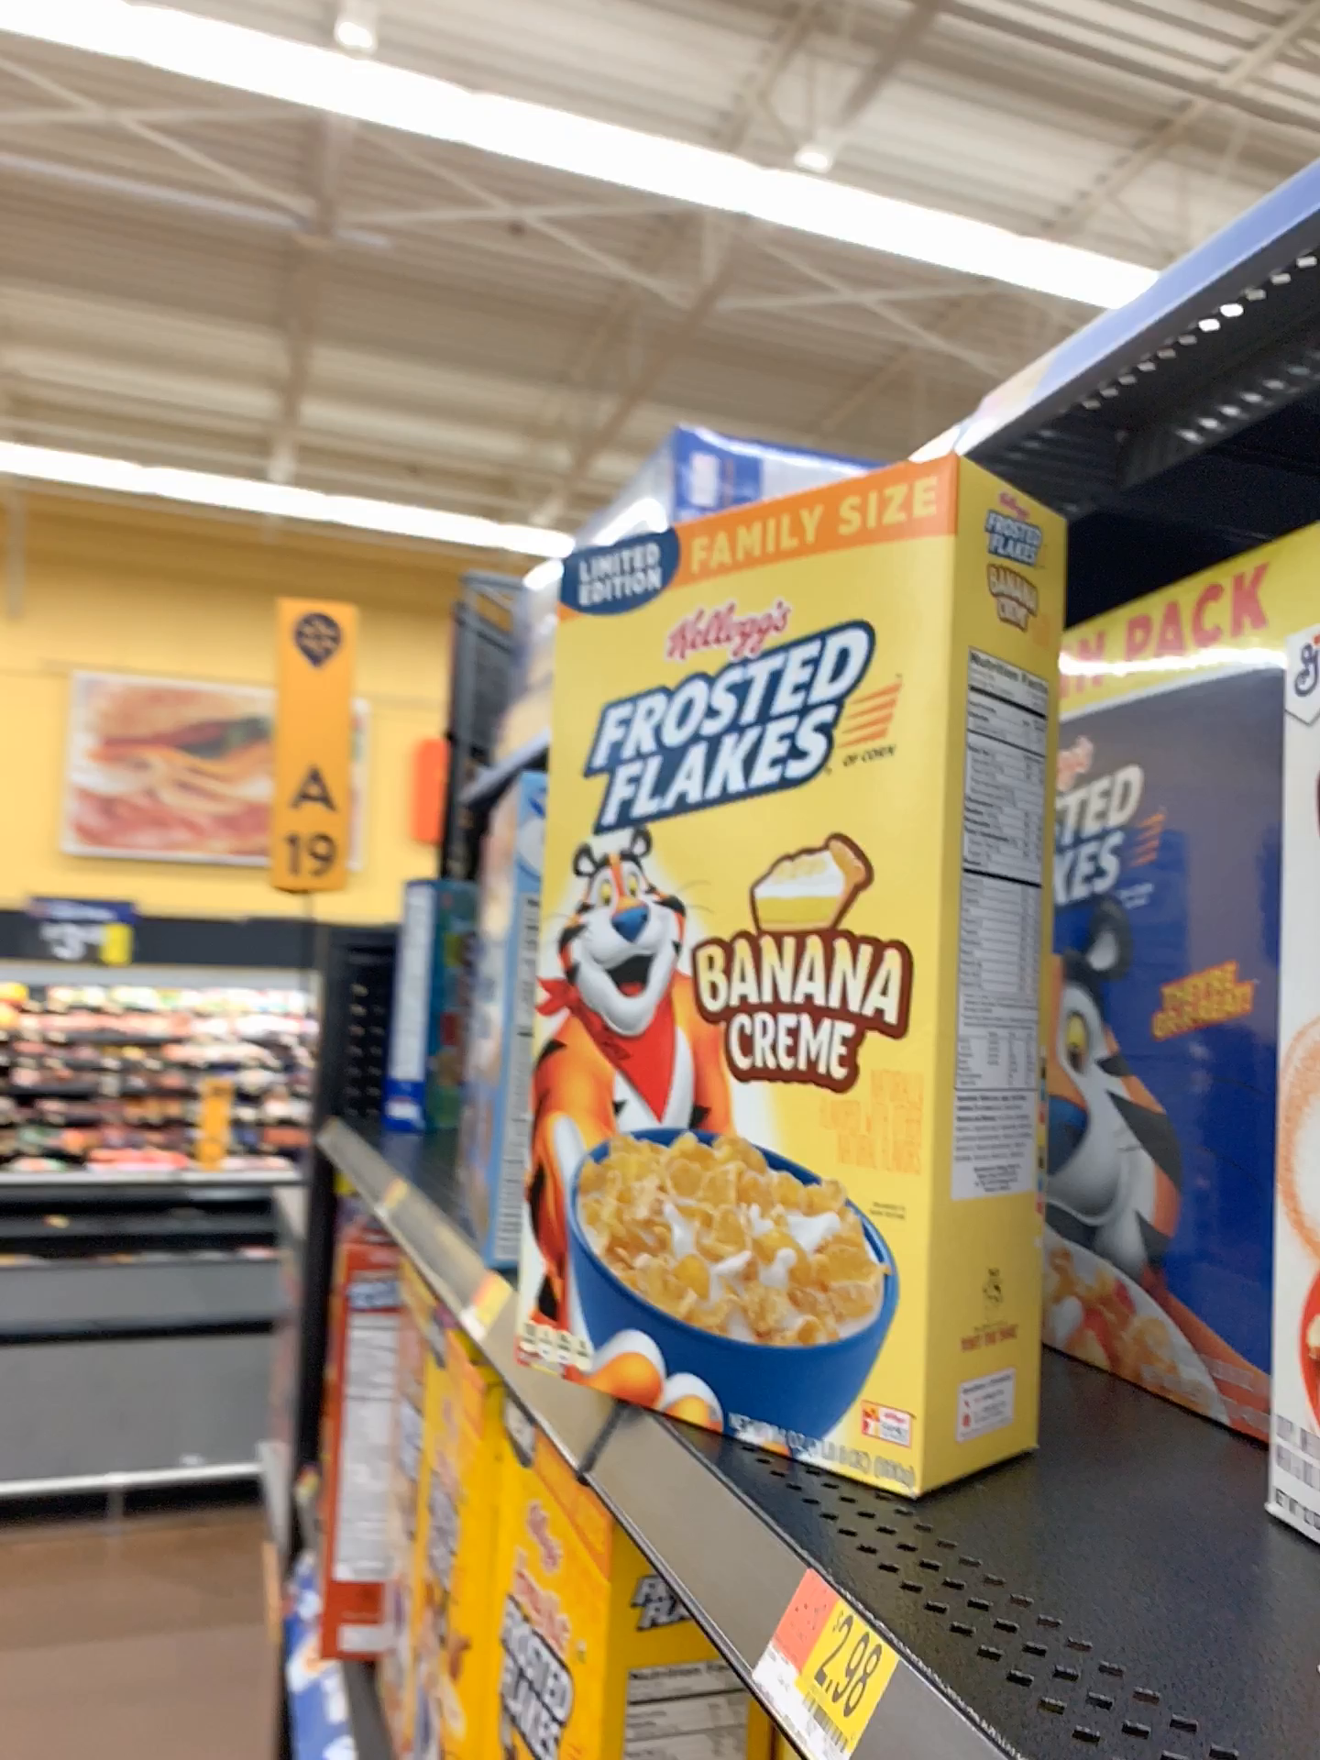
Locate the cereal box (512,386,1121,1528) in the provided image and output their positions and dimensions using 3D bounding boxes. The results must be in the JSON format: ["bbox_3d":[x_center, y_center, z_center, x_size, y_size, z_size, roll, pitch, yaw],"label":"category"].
[{"bbox_3d":[0.053,0.021,0.504,0.200,0.340,0.080,-2,-7,42],"label":"cereal box"}]
